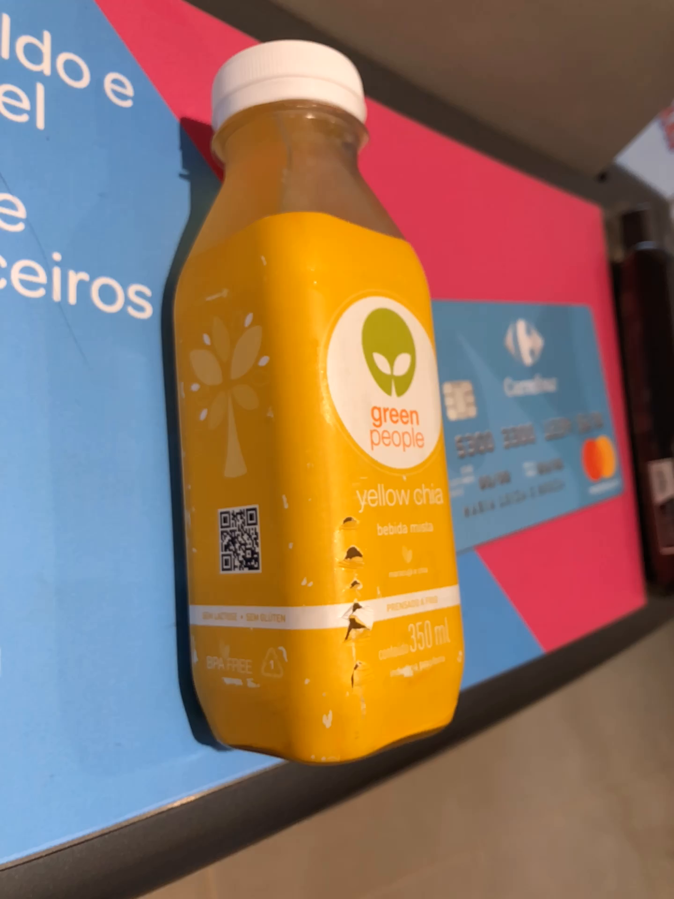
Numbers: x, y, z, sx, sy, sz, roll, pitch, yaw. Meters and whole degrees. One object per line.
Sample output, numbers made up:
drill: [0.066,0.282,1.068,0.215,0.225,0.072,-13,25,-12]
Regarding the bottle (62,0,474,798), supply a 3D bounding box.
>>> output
bottle: [-0.019,-0.021,0.191,0.060,0.060,0.180,-1,83,-46]
